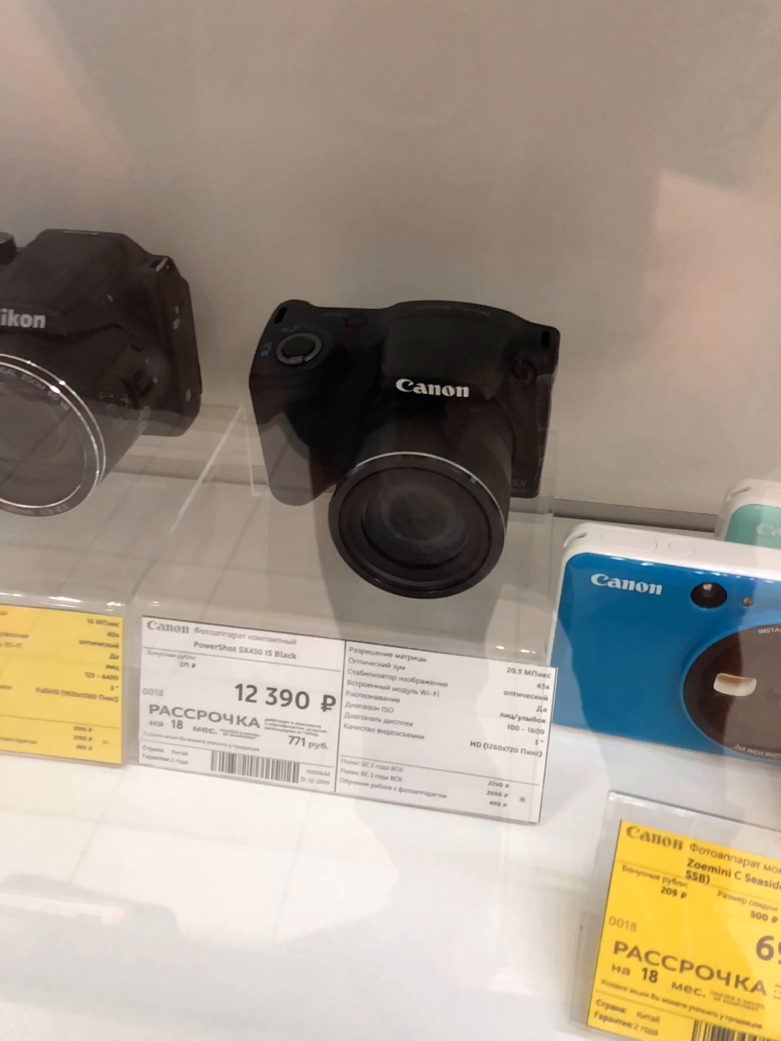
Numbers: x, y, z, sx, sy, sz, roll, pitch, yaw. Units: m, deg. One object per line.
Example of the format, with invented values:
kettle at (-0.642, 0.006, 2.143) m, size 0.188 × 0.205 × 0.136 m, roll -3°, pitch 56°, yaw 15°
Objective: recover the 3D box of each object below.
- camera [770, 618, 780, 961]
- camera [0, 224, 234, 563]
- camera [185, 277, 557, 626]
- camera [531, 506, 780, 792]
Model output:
camera at (0.175, 0.072, 0.231) m, size 0.118 × 0.073 × 0.028 m, roll 8°, pitch 37°, yaw 10°
camera at (-0.121, -0.049, 0.300) m, size 0.100 × 0.073 × 0.093 m, roll 7°, pitch 37°, yaw 8°
camera at (0.000, -0.028, 0.292) m, size 0.100 × 0.070 × 0.093 m, roll 7°, pitch 37°, yaw 8°
camera at (0.109, 0.041, 0.277) m, size 0.118 × 0.073 × 0.028 m, roll 8°, pitch 37°, yaw 10°
